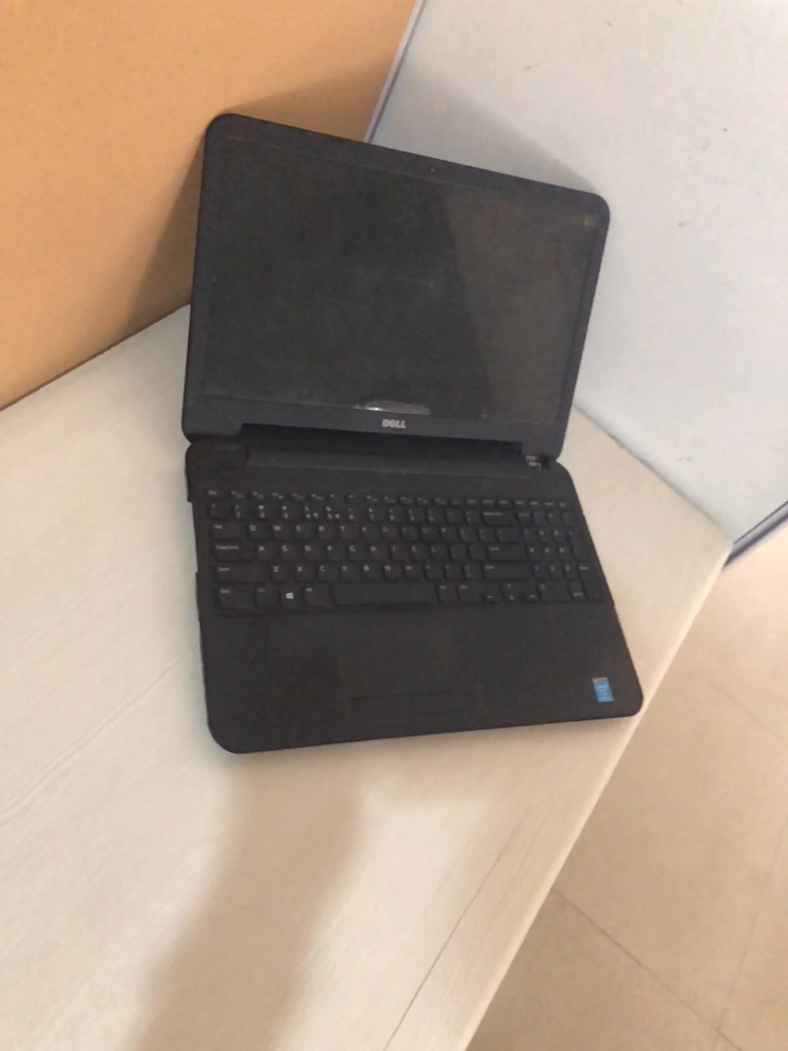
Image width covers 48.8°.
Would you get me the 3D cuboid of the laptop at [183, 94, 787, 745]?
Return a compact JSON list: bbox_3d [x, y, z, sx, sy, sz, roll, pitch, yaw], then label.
[{"bbox_3d":[0.048,-0.078,0.669,0.352,0.175,0.415,2,59,-25],"label":"laptop"}]
